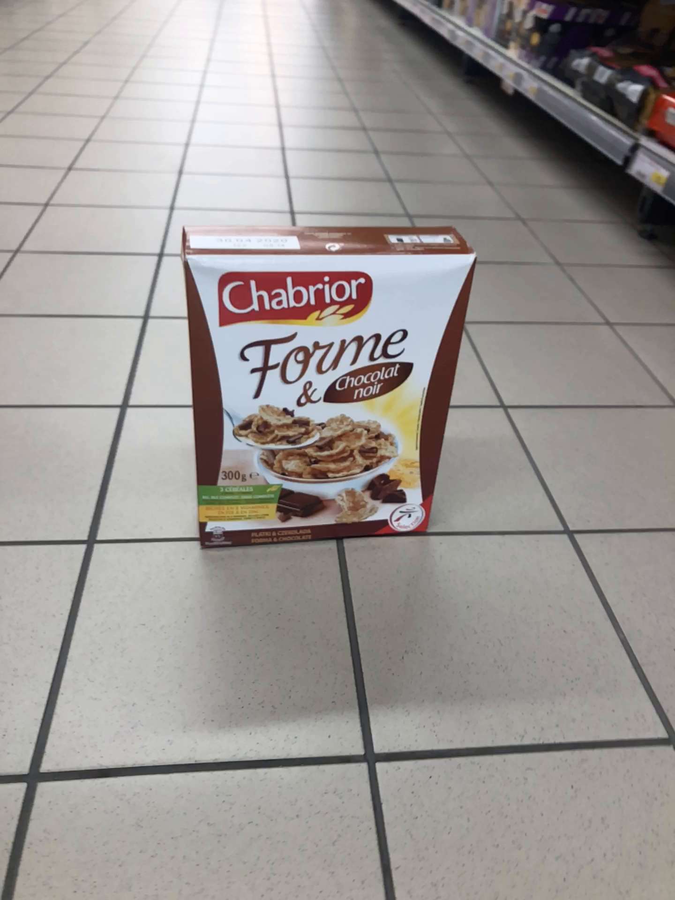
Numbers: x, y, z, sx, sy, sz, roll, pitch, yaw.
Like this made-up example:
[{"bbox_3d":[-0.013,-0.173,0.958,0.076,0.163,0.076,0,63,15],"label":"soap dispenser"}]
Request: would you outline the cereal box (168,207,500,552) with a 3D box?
[{"bbox_3d":[-0.012,-0.046,0.563,0.210,0.248,0.070,-3,36,-11],"label":"cereal box"}]
